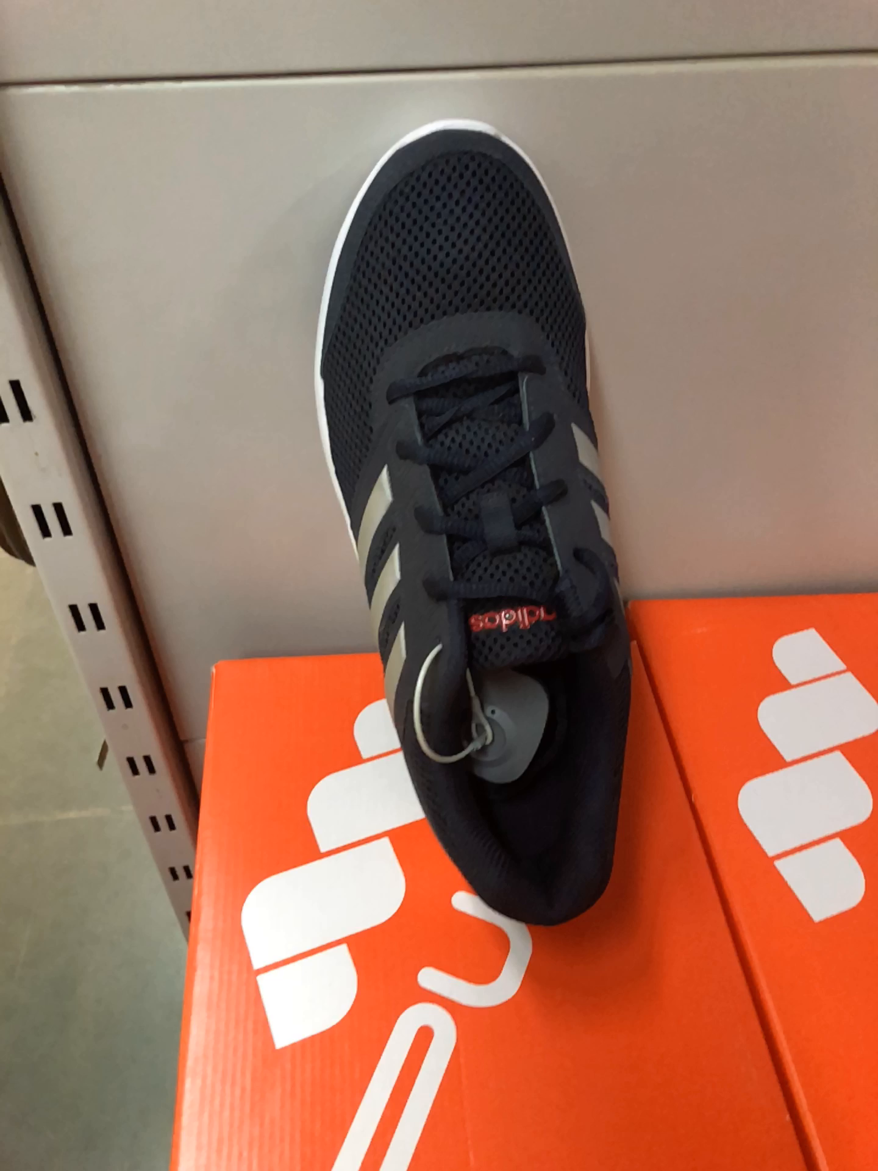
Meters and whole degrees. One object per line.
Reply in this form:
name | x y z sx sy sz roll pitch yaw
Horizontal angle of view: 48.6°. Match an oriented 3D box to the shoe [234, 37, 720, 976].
shoe | 0.015 -0.022 0.340 0.110 0.271 0.088 -9 7 0
